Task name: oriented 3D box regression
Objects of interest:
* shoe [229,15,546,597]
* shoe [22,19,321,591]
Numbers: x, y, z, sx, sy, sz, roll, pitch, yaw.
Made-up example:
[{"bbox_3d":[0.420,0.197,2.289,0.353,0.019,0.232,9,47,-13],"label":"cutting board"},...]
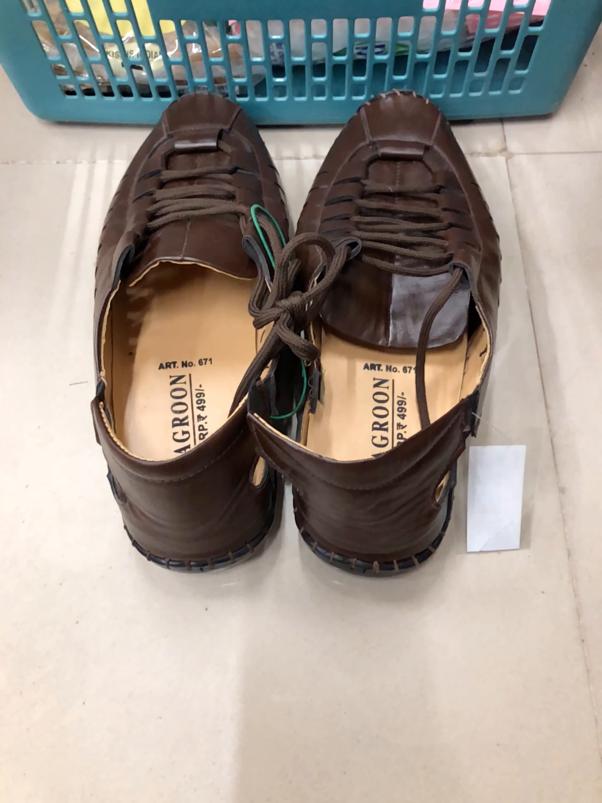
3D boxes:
[{"bbox_3d":[0.048,-0.055,0.338,0.112,0.101,0.273,6,65,5],"label":"shoe"},{"bbox_3d":[-0.055,-0.055,0.342,0.107,0.101,0.273,-5,65,0],"label":"shoe"}]
